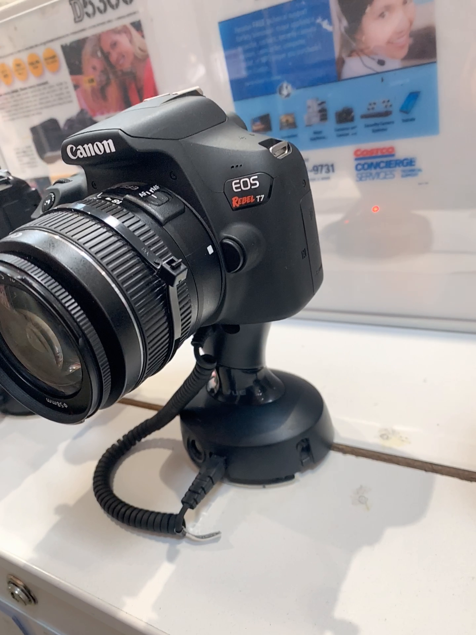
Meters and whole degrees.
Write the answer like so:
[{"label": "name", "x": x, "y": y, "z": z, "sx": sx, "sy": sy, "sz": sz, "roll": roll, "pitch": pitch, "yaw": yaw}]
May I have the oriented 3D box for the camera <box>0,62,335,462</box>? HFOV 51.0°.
[{"label": "camera", "x": -0.042, "y": -0.031, "z": 0.205, "sx": 0.122, "sy": 0.104, "sz": 0.110, "roll": 4, "pitch": 30, "yaw": 30}]
